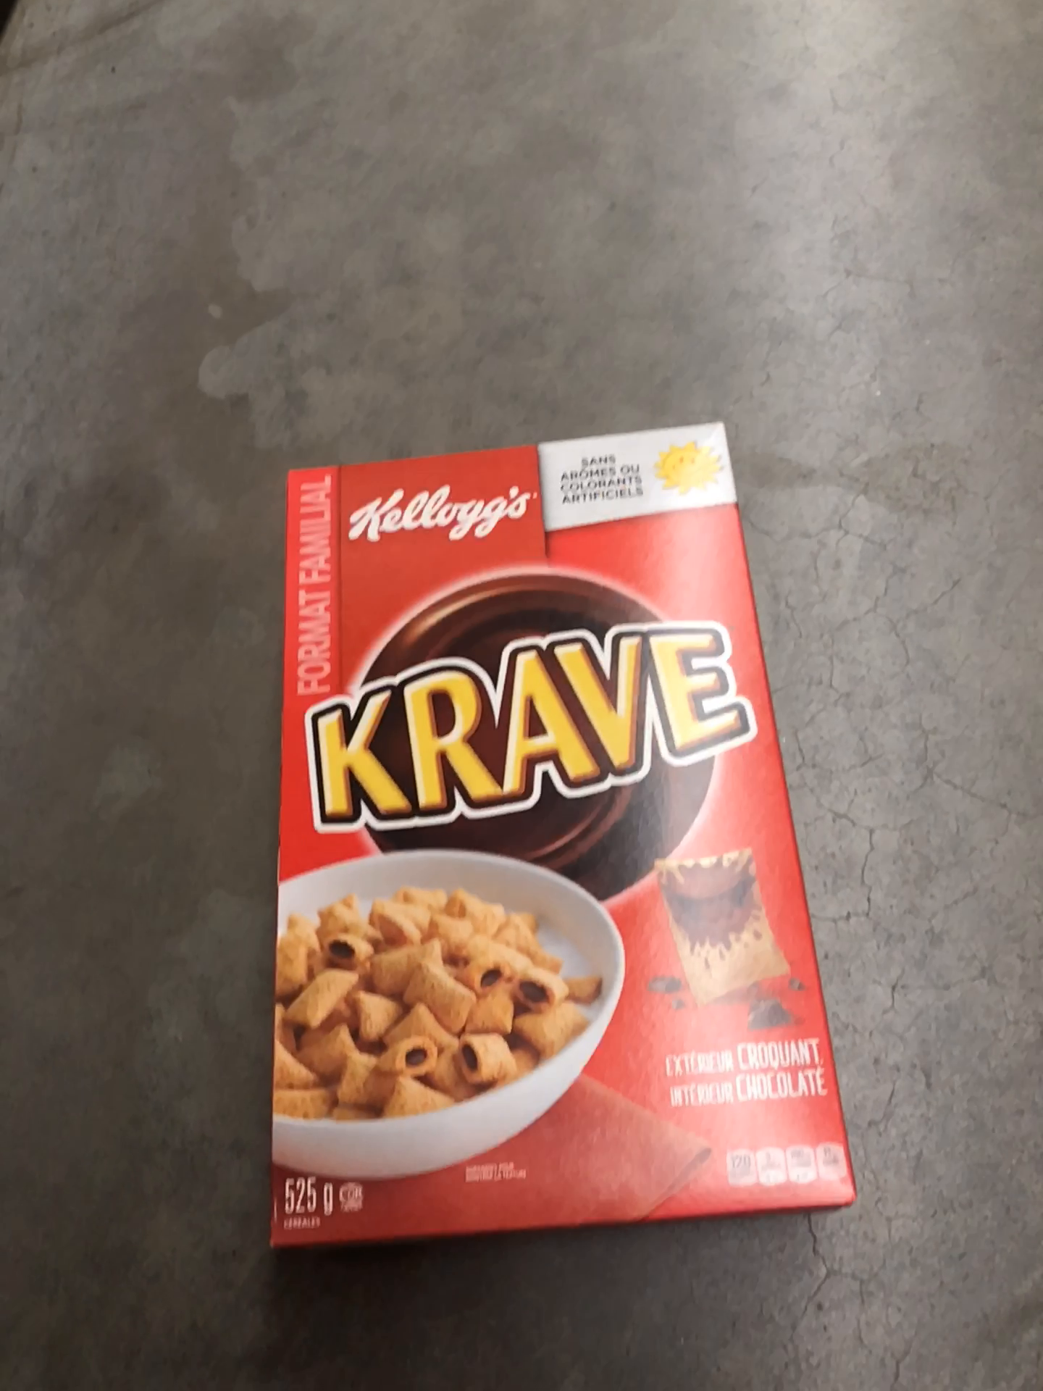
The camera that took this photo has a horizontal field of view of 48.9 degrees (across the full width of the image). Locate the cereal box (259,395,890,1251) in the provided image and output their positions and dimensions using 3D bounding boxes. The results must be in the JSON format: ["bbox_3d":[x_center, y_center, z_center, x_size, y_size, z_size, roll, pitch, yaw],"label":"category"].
[{"bbox_3d":[0.007,0.040,0.457,0.200,0.070,0.311,-6,66,3],"label":"cereal box"}]
